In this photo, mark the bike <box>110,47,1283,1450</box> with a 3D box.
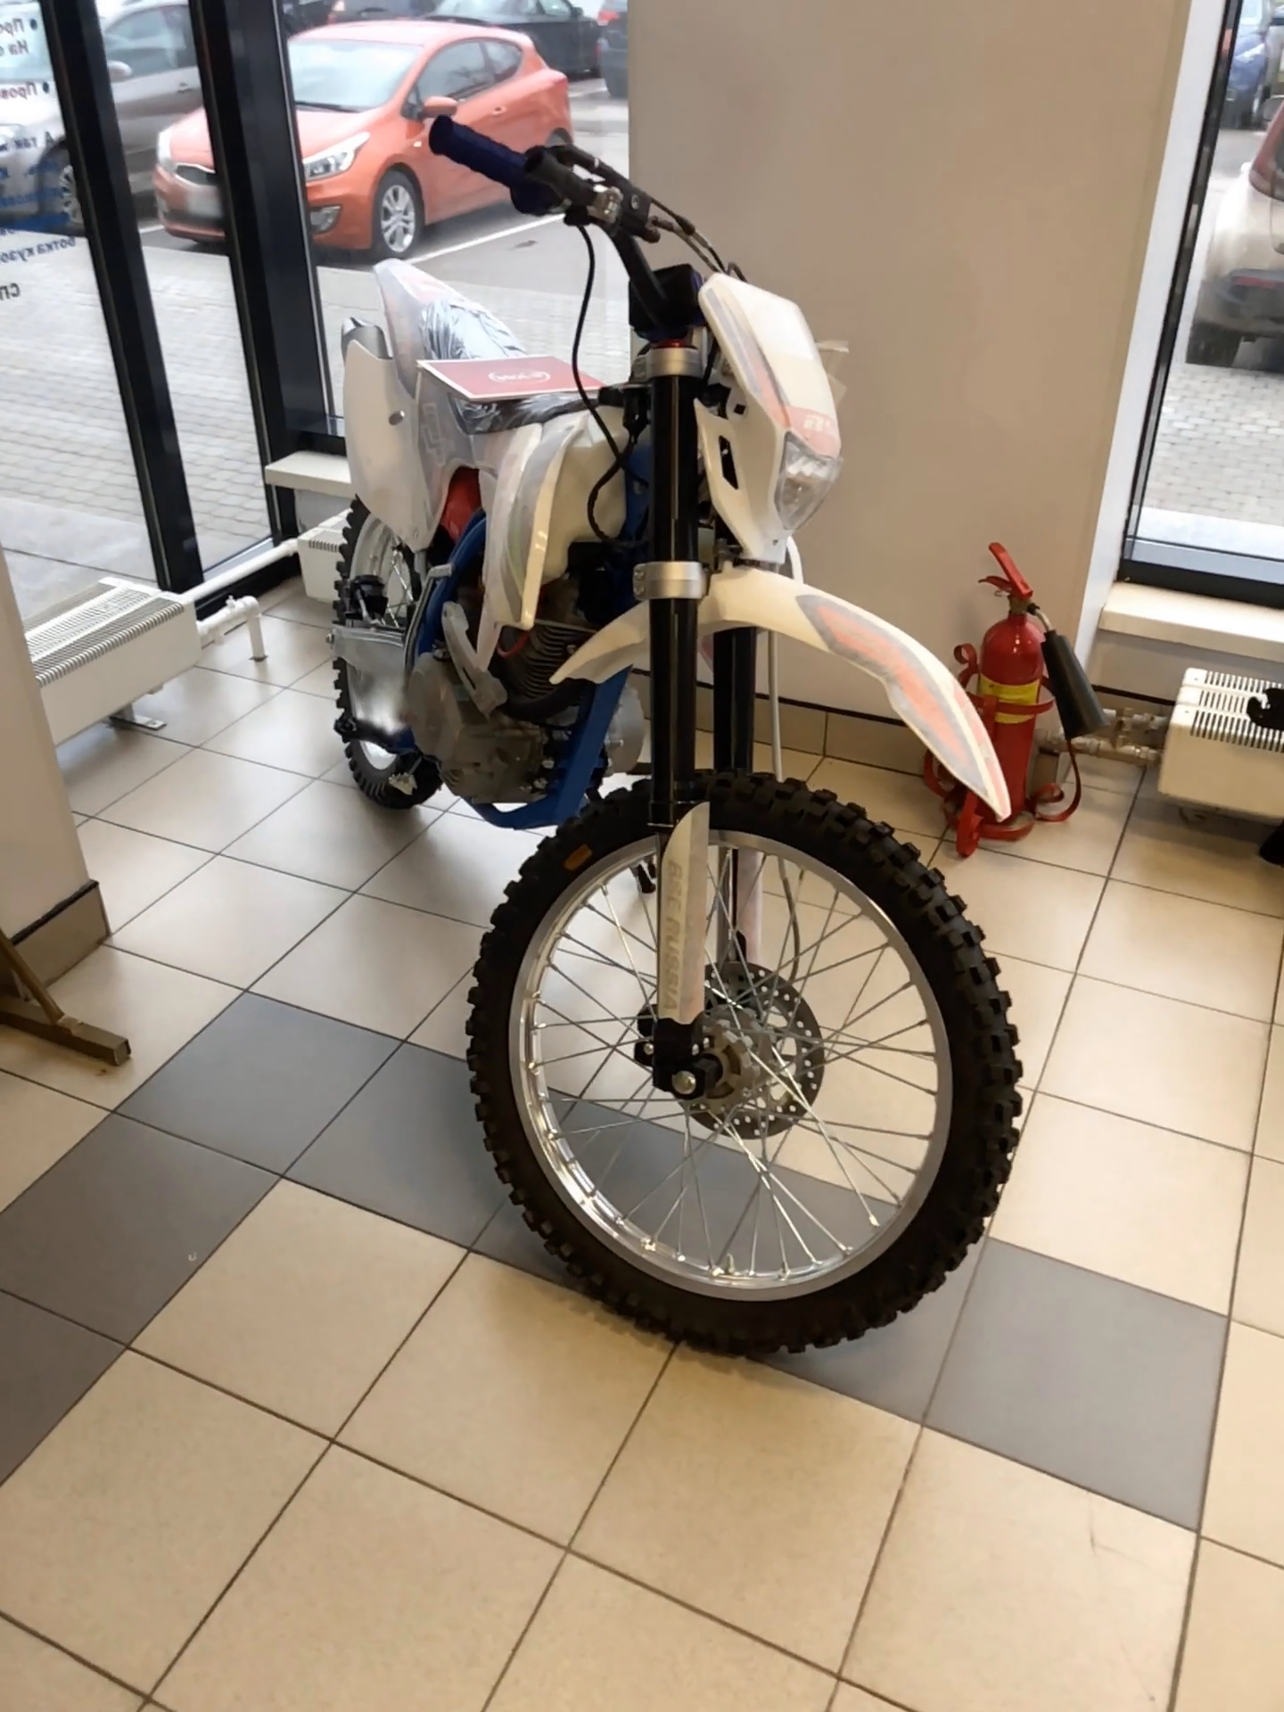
[{"bbox_3d":[0.020,-0.401,2.078,0.844,1.219,1.852,-18,38,-26],"label":"bike"}]
